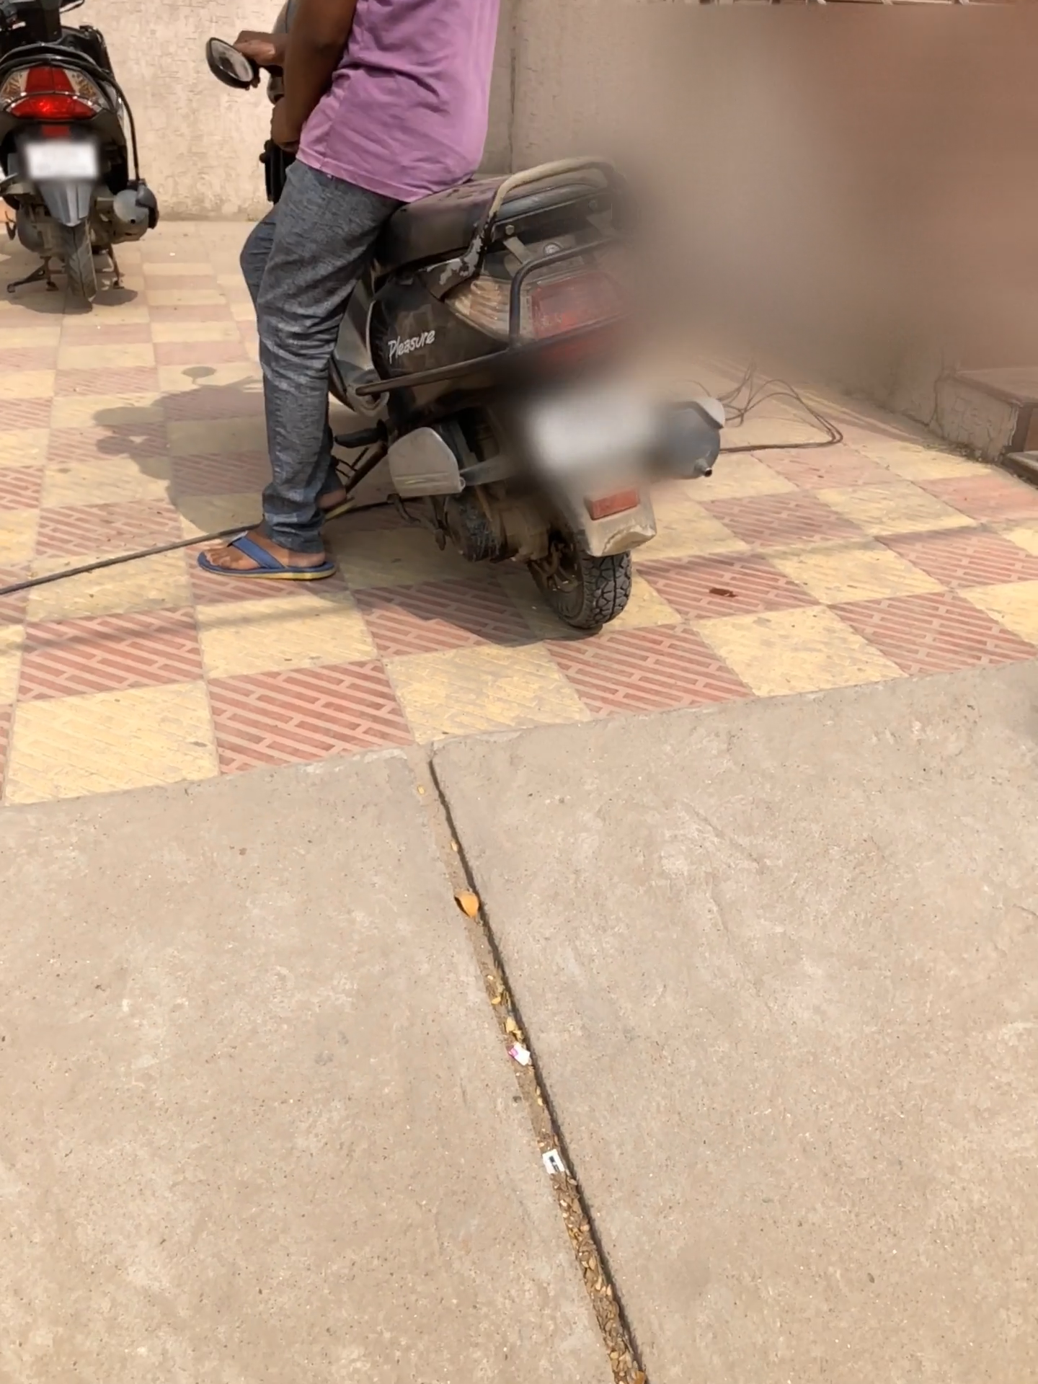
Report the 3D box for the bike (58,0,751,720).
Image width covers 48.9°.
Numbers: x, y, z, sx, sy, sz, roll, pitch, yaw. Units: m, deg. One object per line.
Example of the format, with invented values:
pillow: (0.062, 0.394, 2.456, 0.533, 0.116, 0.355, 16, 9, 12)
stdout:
bike: (-0.373, -0.859, 2.326, 0.637, 1.116, 1.599, -13, 33, -24)
